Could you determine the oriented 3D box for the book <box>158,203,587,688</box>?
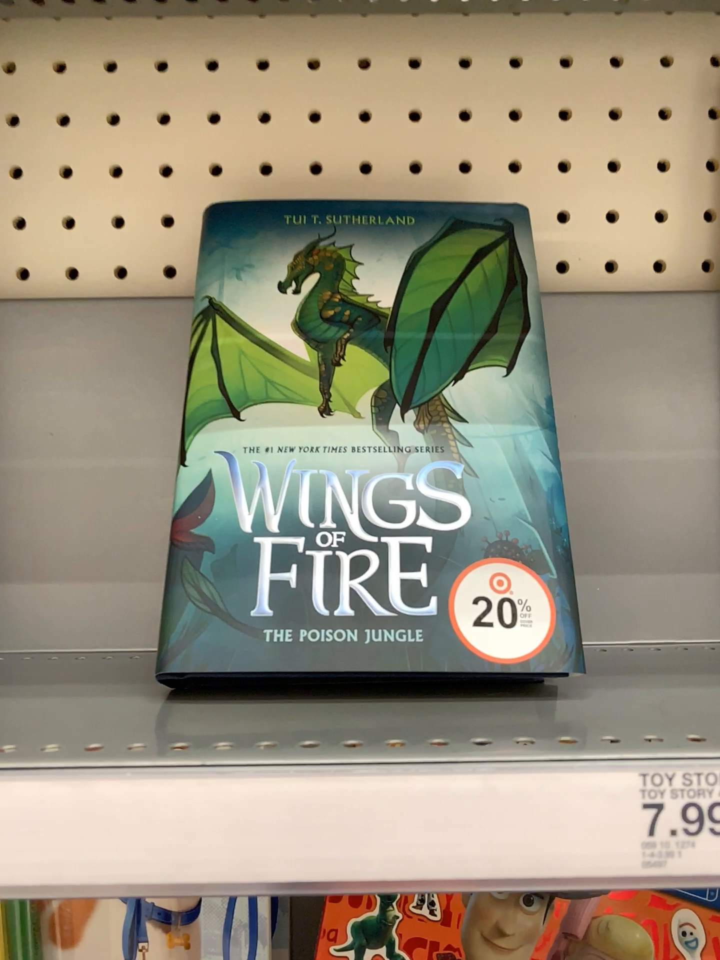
[{"bbox_3d":[0.004,-0.024,0.322,0.150,0.216,0.036,-1,-25,1],"label":"book"}]
